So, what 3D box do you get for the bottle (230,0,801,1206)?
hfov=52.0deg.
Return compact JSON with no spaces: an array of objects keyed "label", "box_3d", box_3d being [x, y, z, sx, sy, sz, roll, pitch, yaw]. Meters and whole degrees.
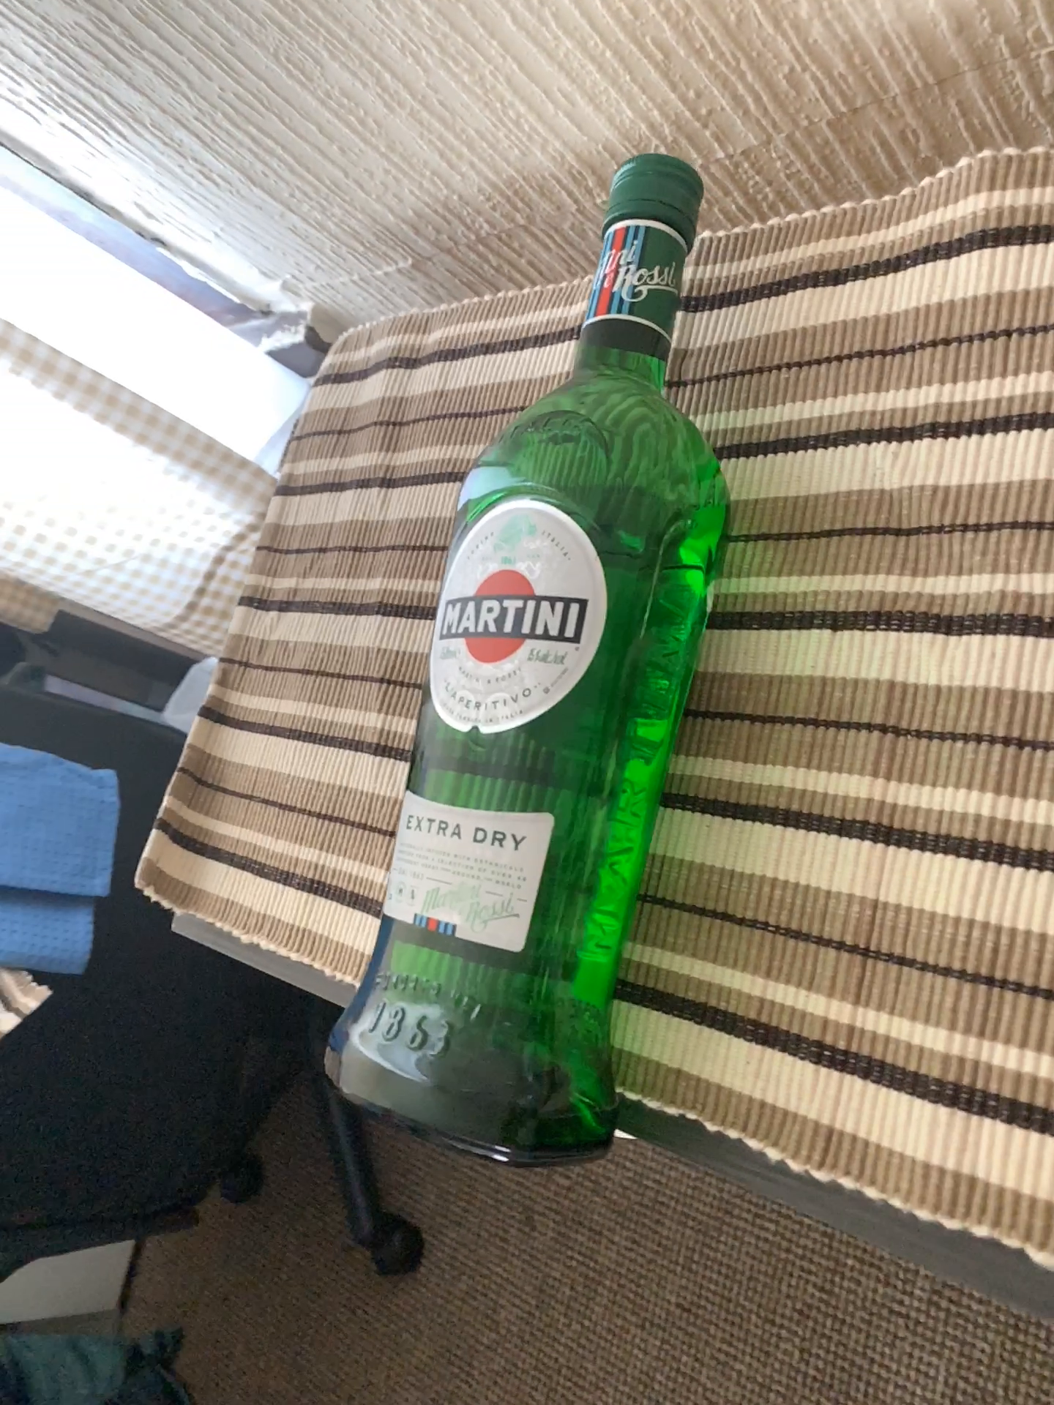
[{"label":"bottle","box_3d":[0.000,-0.034,0.327,0.090,0.070,0.320,4,80,43]}]
